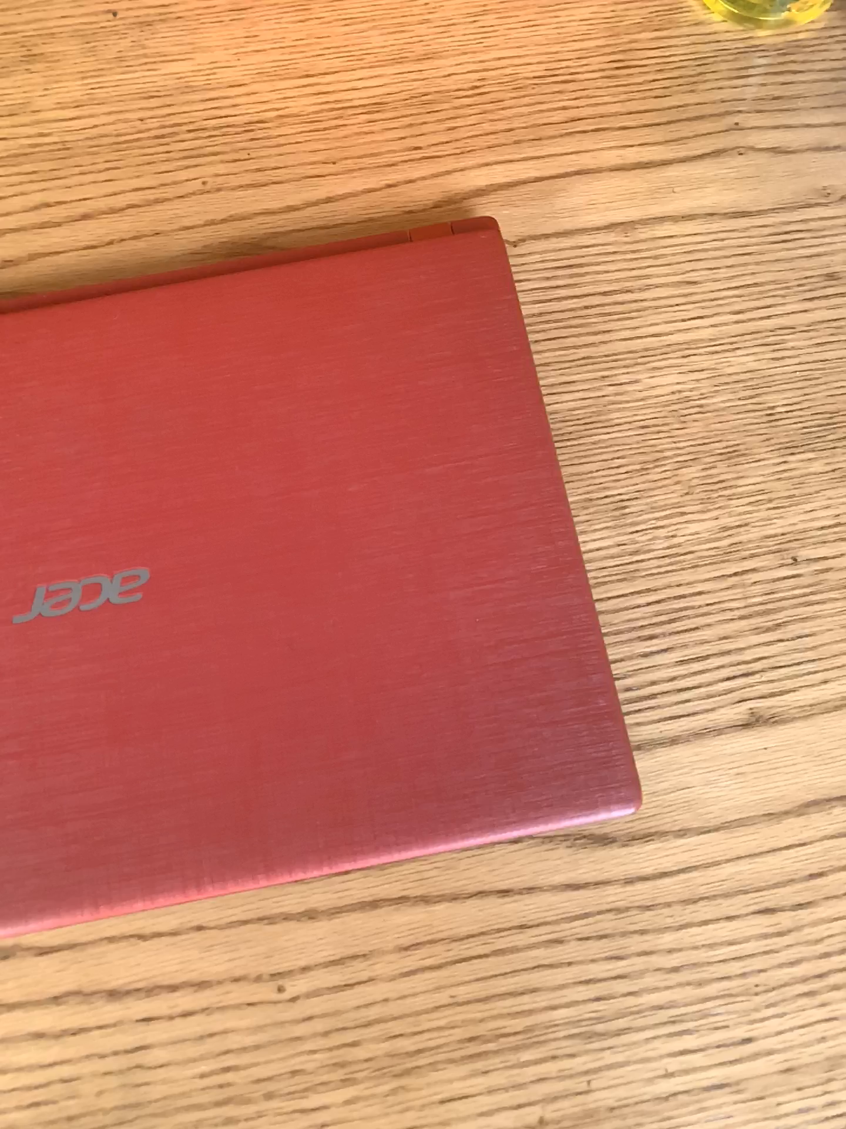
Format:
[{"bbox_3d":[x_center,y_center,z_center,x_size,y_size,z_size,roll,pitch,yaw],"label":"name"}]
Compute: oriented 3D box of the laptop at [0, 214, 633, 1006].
[{"bbox_3d":[-0.129,0.004,0.326,0.362,0.013,0.236,-10,75,0],"label":"laptop"}]
